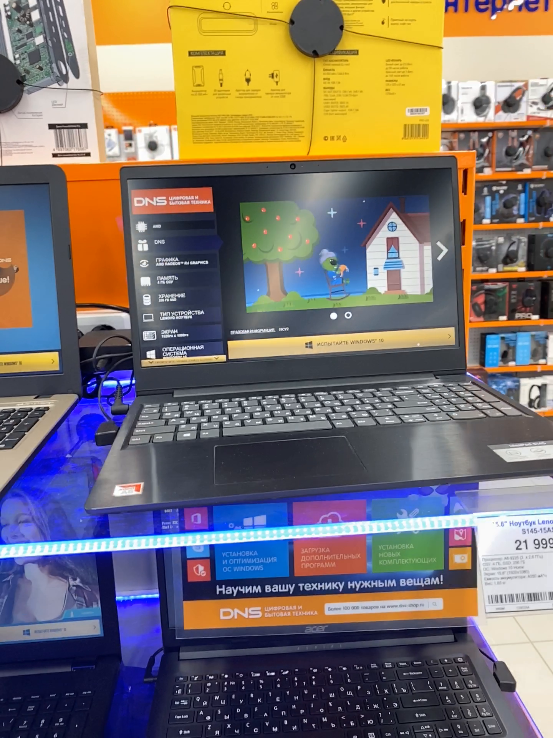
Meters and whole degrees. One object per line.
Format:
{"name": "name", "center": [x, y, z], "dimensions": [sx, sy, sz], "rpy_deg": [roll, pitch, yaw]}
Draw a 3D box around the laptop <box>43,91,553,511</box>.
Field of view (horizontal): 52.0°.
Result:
{"name": "laptop", "center": [0.041, -0.072, 0.489], "dimensions": [0.358, 0.233, 0.298], "rpy_deg": [-4, 13, -5]}
